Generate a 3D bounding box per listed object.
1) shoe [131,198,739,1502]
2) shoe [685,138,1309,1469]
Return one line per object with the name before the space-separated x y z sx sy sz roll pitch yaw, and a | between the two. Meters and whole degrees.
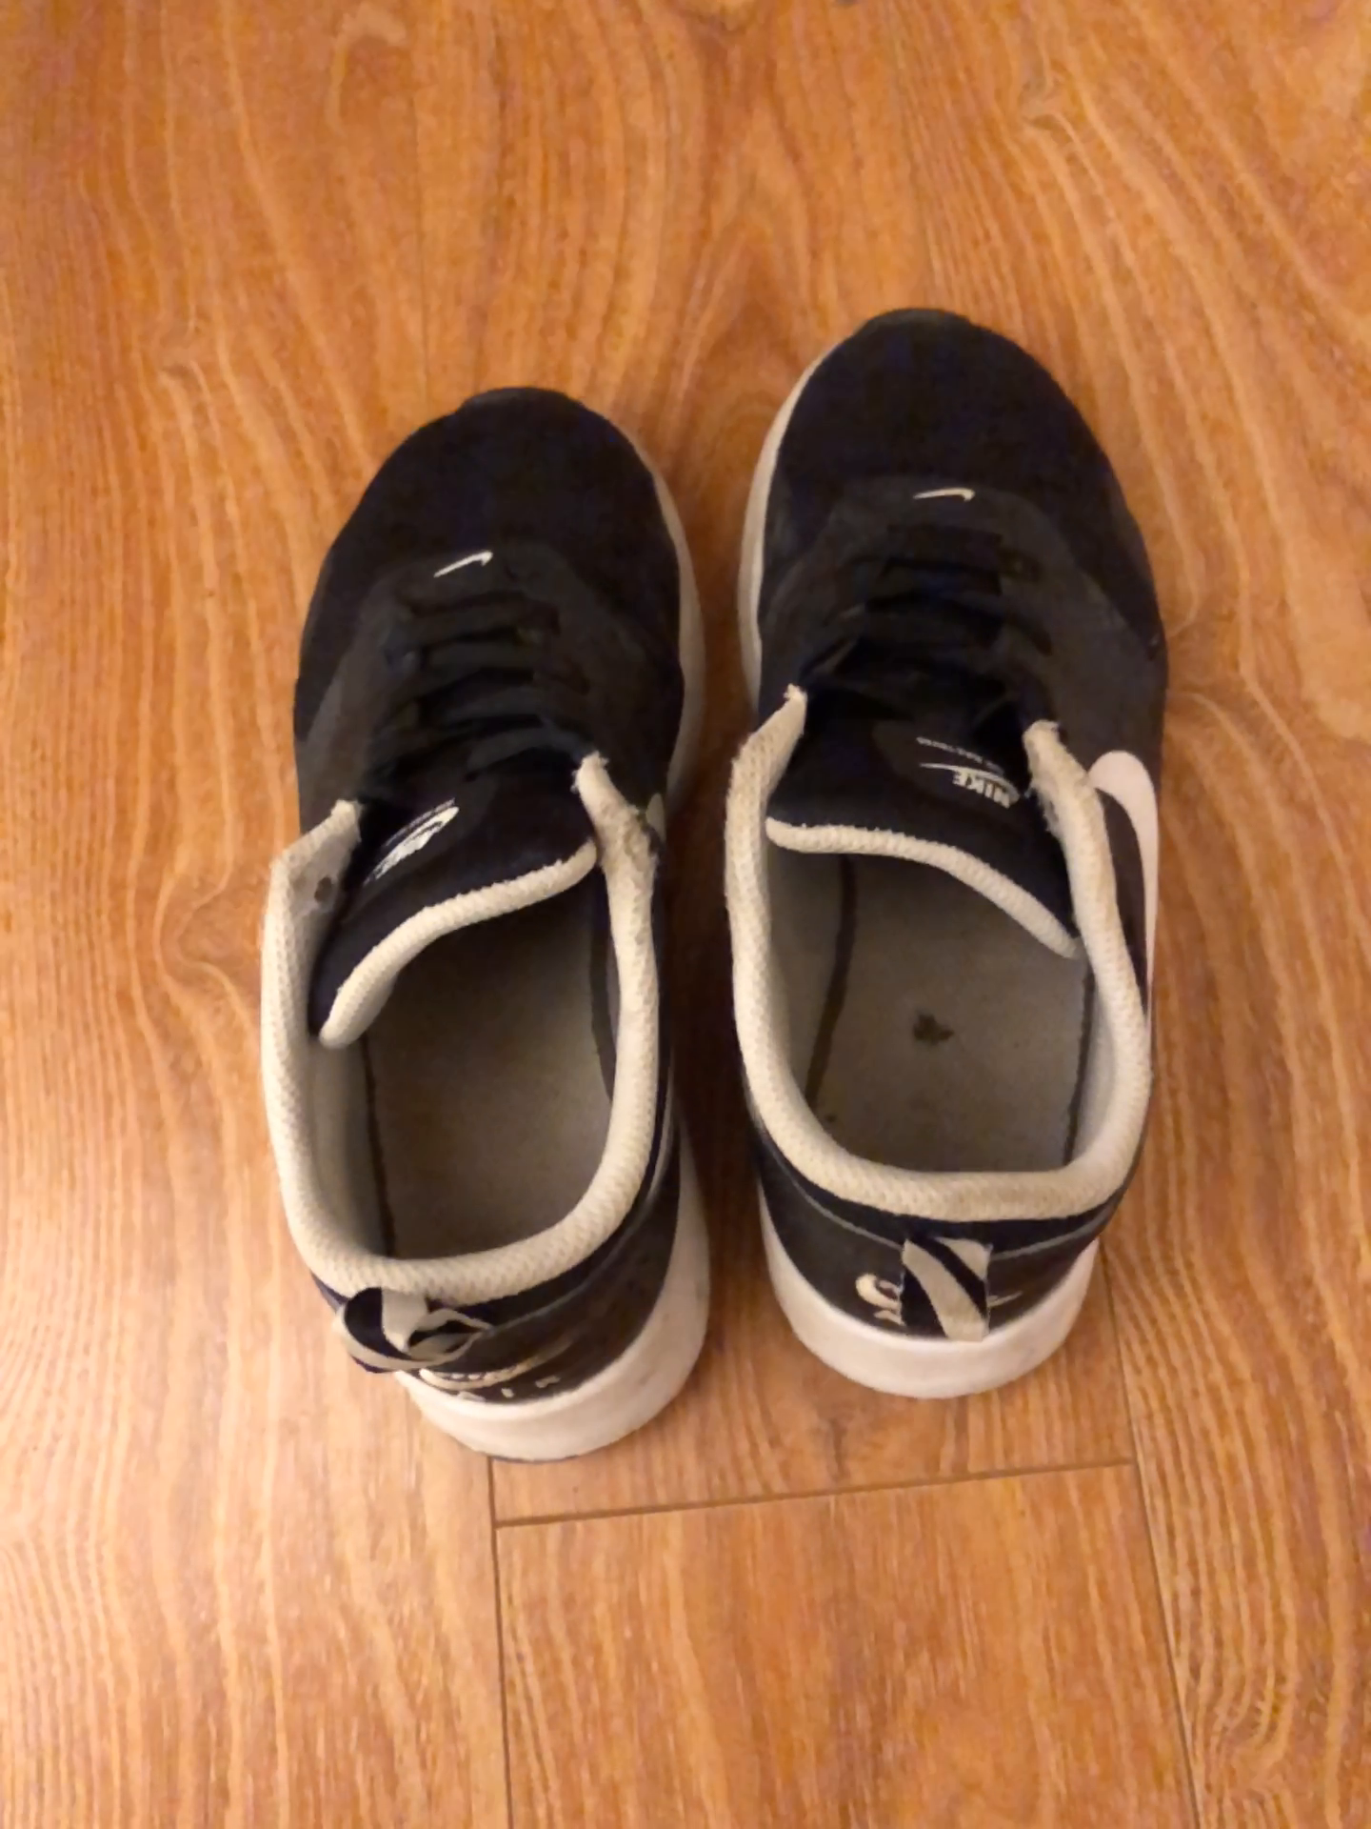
shoe | -0.041 -0.013 0.300 0.090 0.080 0.230 -3 74 4
shoe | 0.053 -0.022 0.291 0.090 0.080 0.230 1 75 5
